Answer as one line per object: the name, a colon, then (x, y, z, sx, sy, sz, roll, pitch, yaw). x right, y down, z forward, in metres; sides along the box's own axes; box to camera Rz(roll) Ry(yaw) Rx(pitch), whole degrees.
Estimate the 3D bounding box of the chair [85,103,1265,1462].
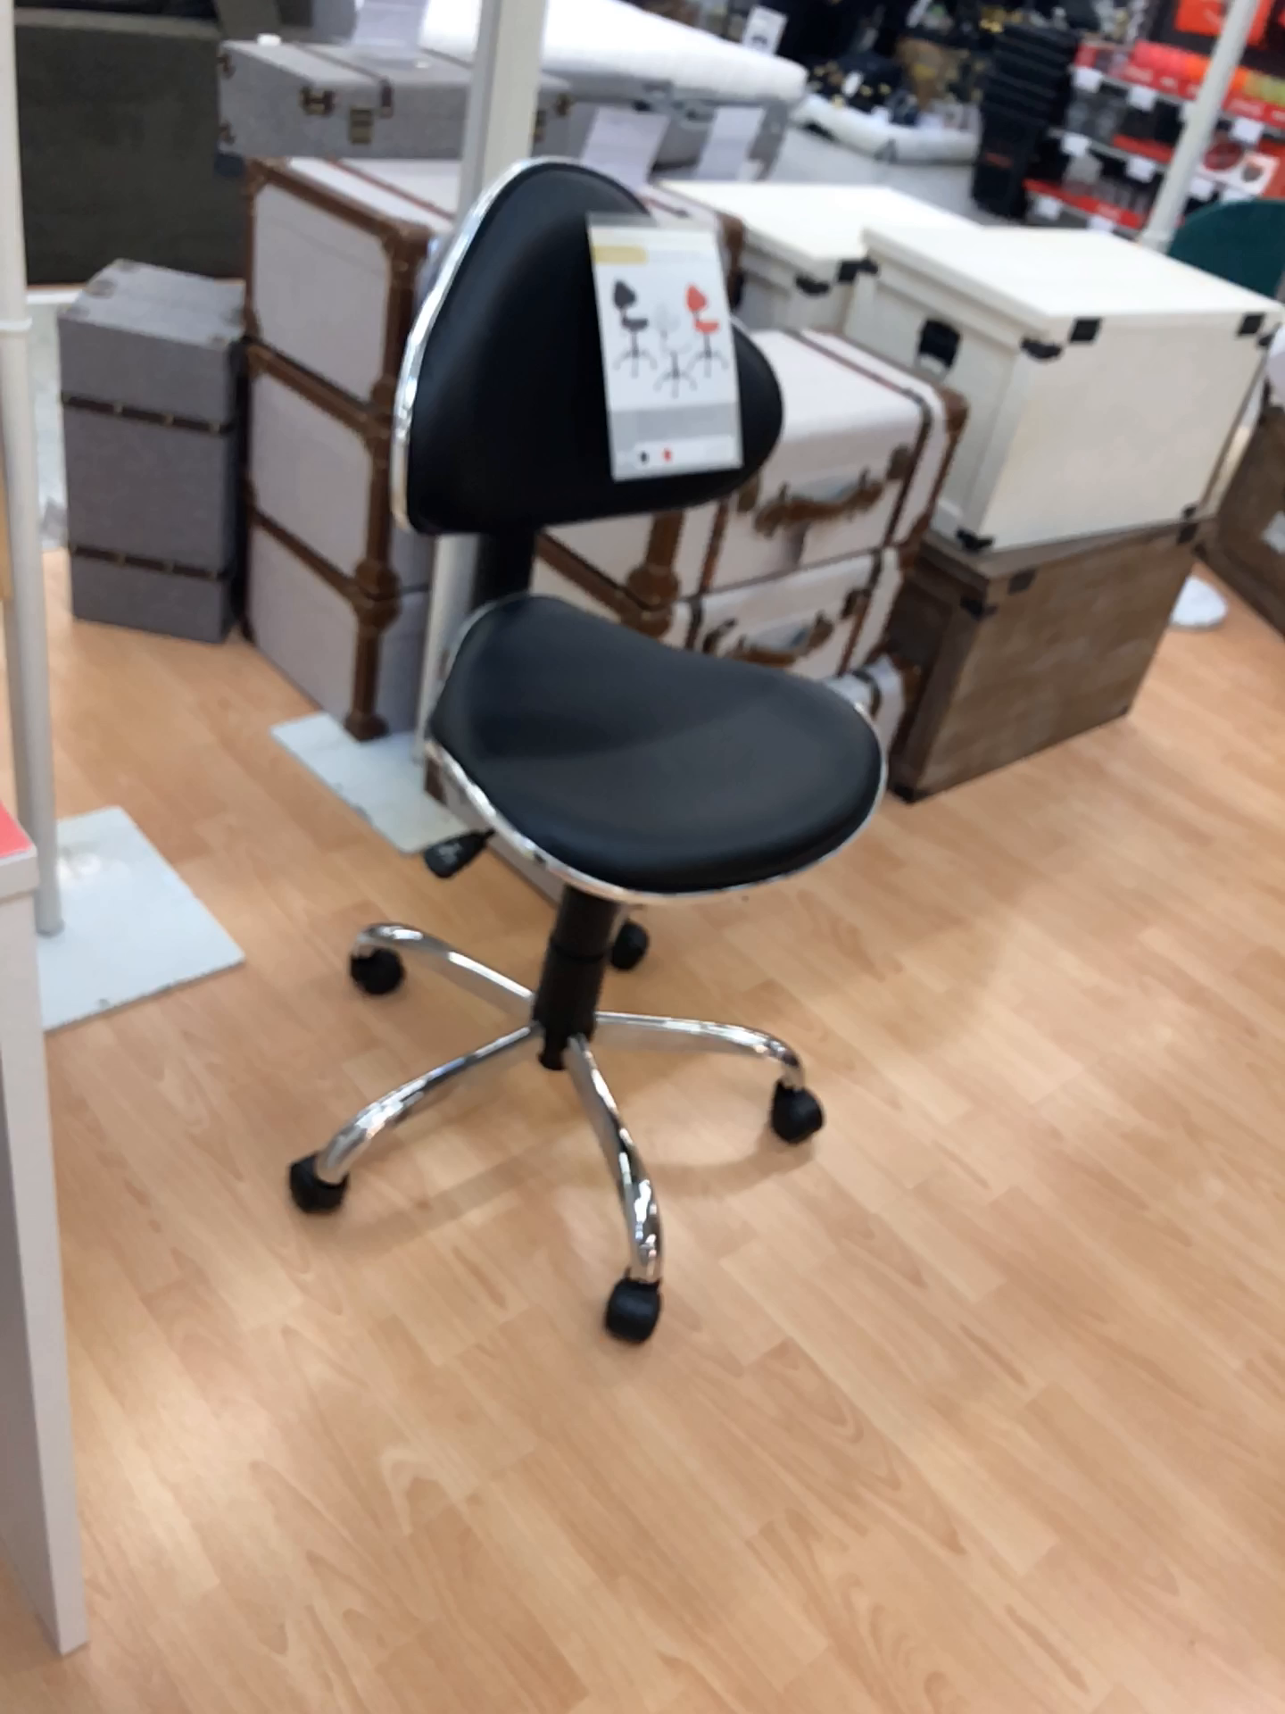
chair: (-0.036, -0.105, 1.258, 0.610, 0.854, 0.604, 36, 41, 29)
